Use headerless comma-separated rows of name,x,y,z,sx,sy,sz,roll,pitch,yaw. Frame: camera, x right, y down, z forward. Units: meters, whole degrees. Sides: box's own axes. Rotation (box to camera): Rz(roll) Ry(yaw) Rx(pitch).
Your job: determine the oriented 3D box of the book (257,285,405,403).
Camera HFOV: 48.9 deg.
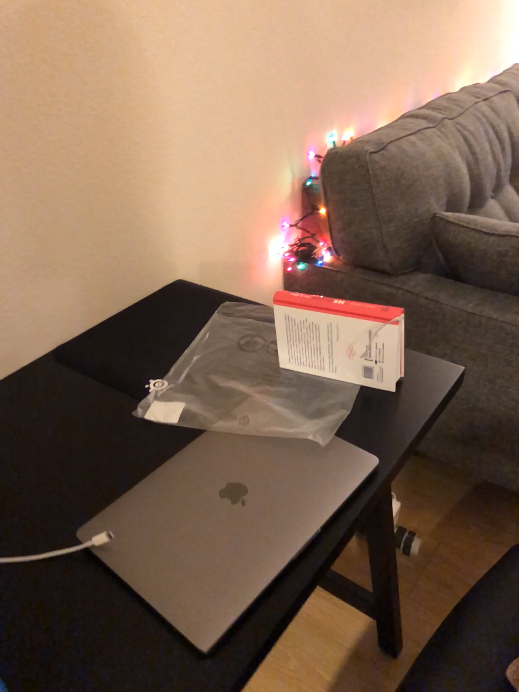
book,0.100,-0.006,0.832,0.200,0.129,0.050,12,34,22
